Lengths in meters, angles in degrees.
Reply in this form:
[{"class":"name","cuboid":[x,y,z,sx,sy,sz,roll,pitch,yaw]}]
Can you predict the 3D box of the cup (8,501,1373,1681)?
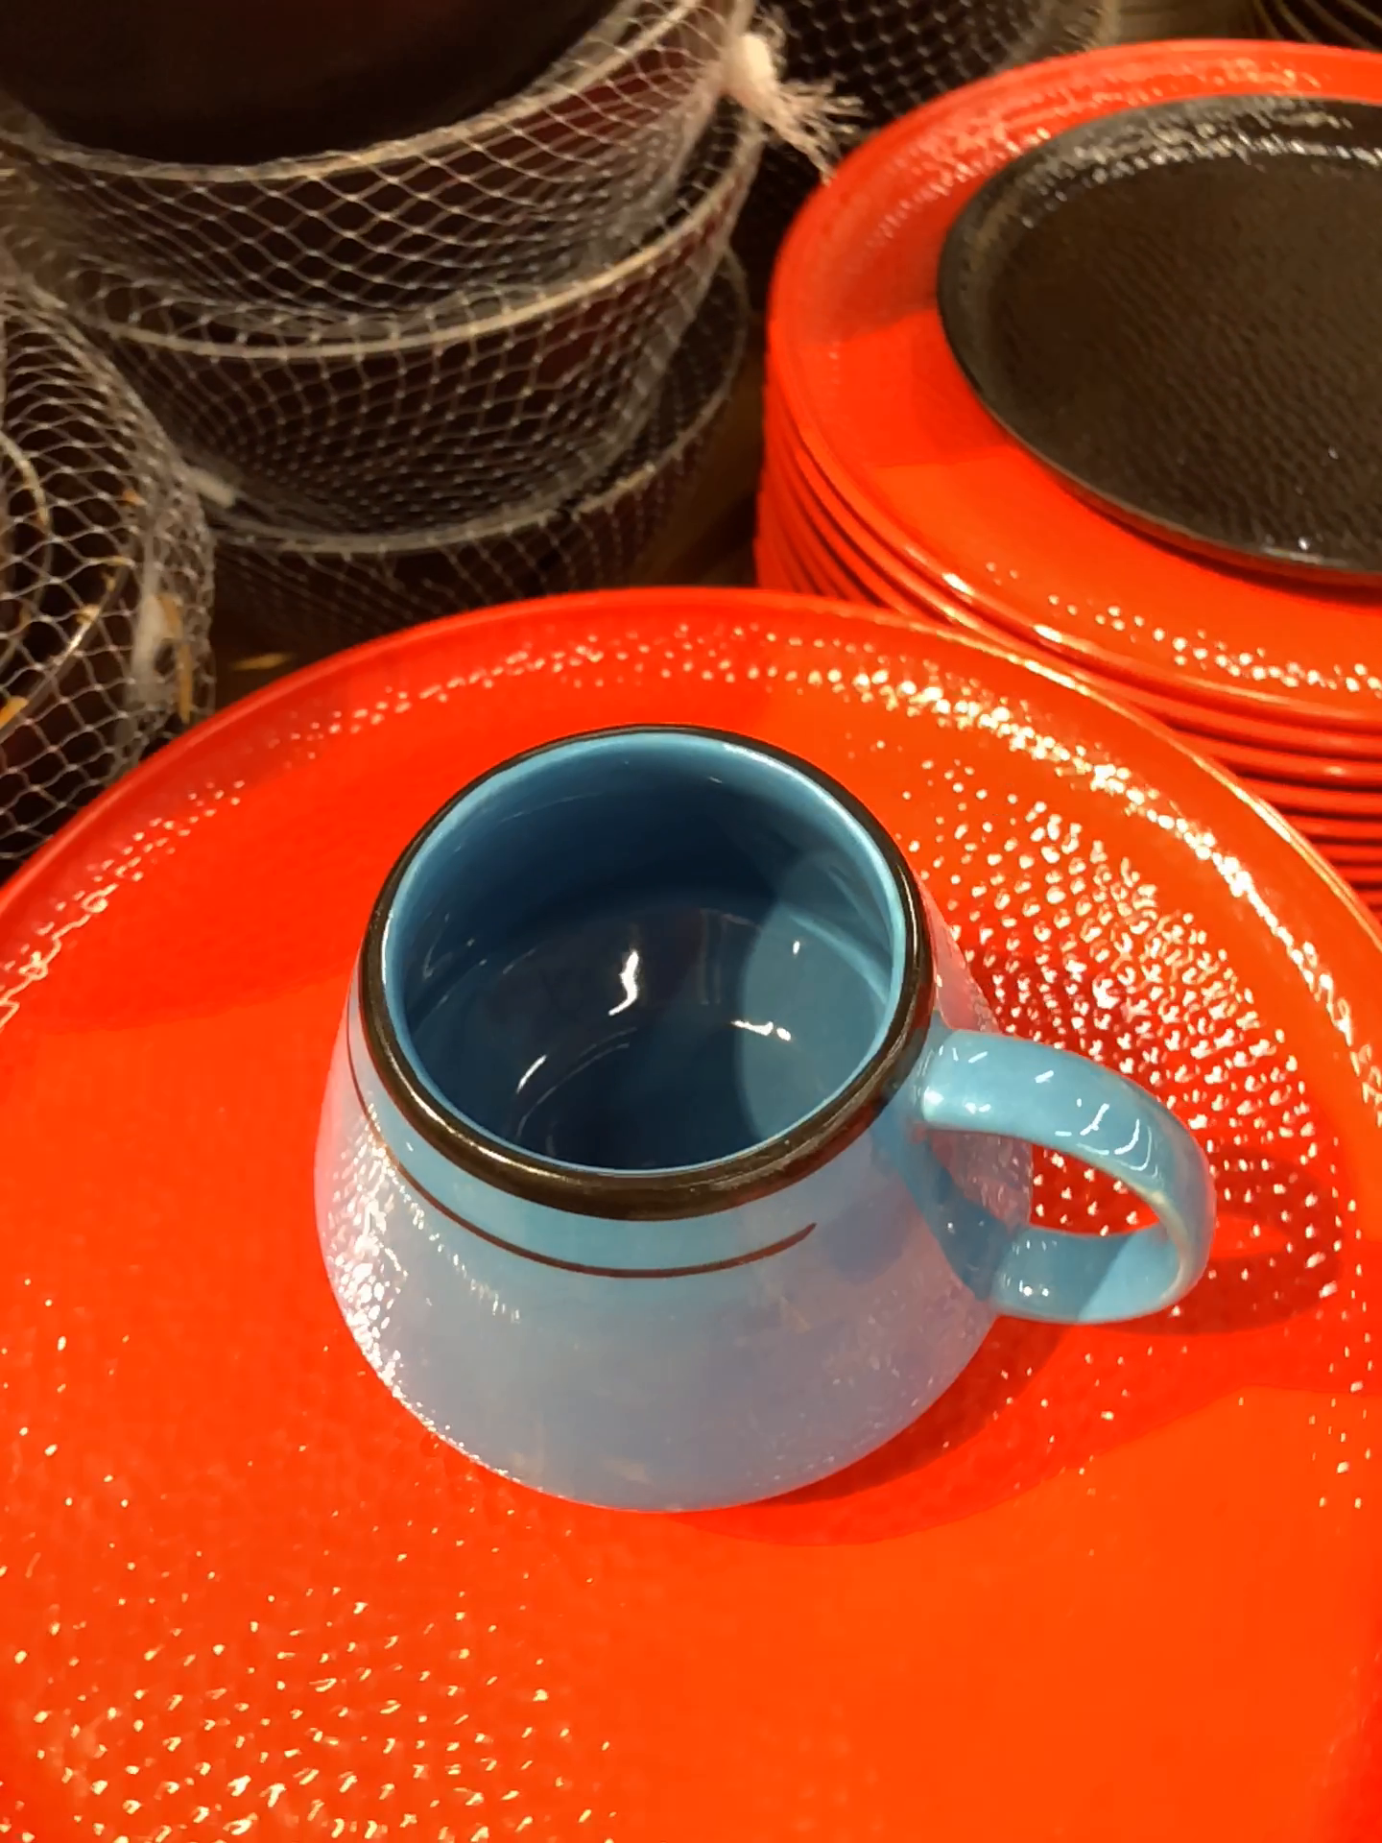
[{"class":"cup","cuboid":[0.009,0.021,0.224,0.140,0.090,0.111,13,55,12]}]
